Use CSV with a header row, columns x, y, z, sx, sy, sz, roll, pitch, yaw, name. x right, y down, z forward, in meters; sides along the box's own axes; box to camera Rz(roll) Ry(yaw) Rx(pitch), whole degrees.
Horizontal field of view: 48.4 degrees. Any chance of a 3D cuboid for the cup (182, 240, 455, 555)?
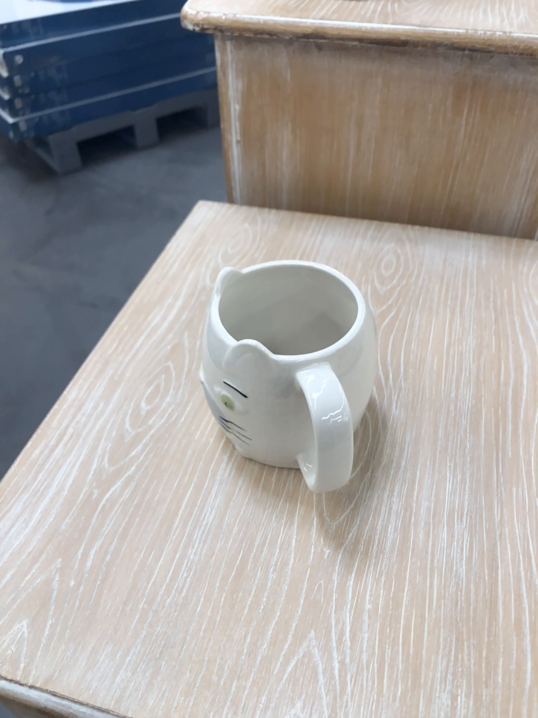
x,y,z,sx,sy,sz,roll,pitch,yaw,name
0.019,0.014,0.309,0.092,0.073,0.125,-17,46,-8,cup
